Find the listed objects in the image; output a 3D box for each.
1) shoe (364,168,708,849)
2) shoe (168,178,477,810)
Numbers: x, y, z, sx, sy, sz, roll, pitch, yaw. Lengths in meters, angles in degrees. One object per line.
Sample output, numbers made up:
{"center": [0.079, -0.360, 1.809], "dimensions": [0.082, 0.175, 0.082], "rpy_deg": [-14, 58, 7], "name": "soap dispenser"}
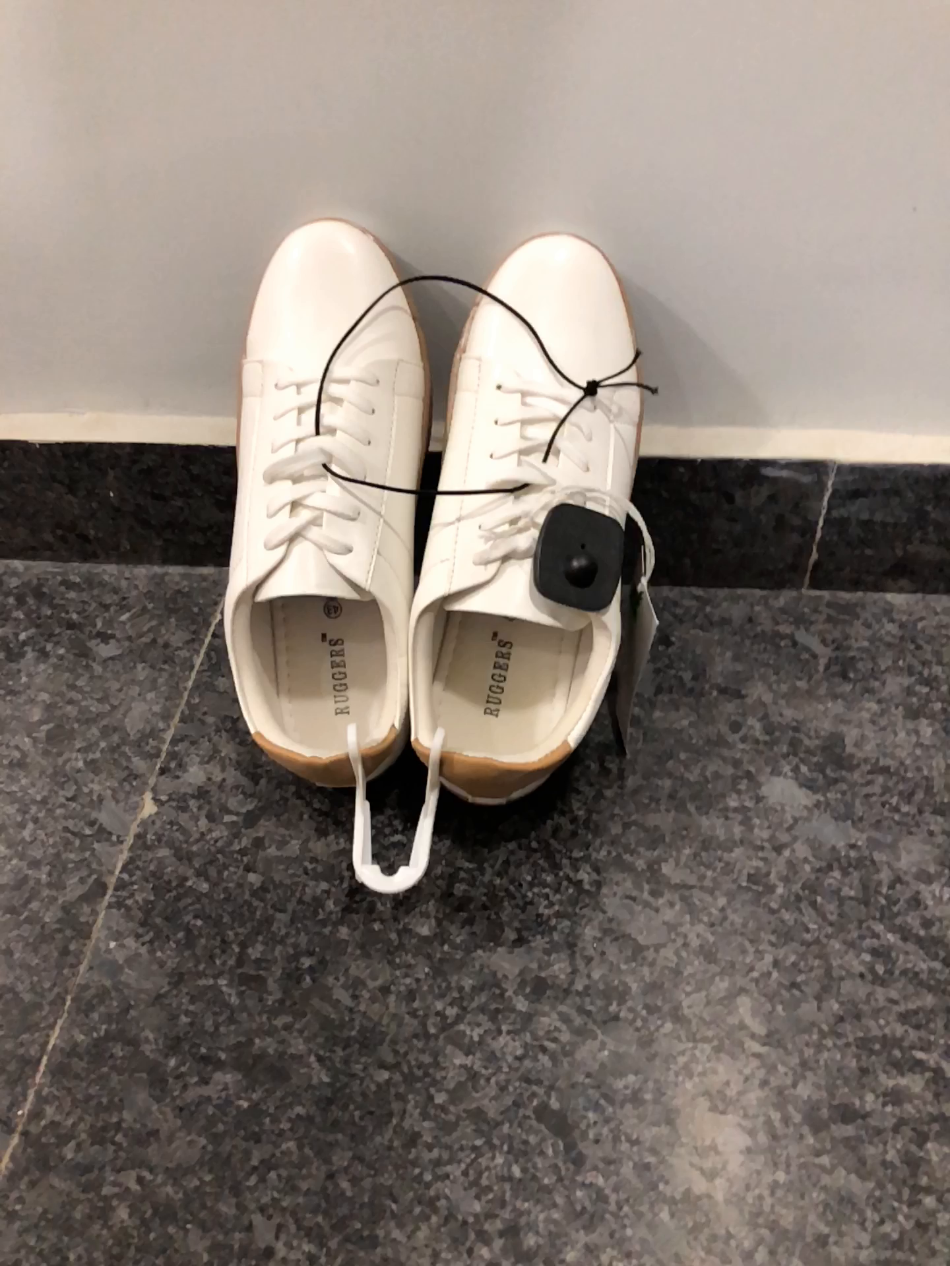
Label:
{"center": [0.029, -0.052, 0.482], "dimensions": [0.107, 0.104, 0.274], "rpy_deg": [7, 84, 3], "name": "shoe"}
{"center": [-0.063, -0.061, 0.487], "dimensions": [0.101, 0.087, 0.273], "rpy_deg": [3, 82, 6], "name": "shoe"}
